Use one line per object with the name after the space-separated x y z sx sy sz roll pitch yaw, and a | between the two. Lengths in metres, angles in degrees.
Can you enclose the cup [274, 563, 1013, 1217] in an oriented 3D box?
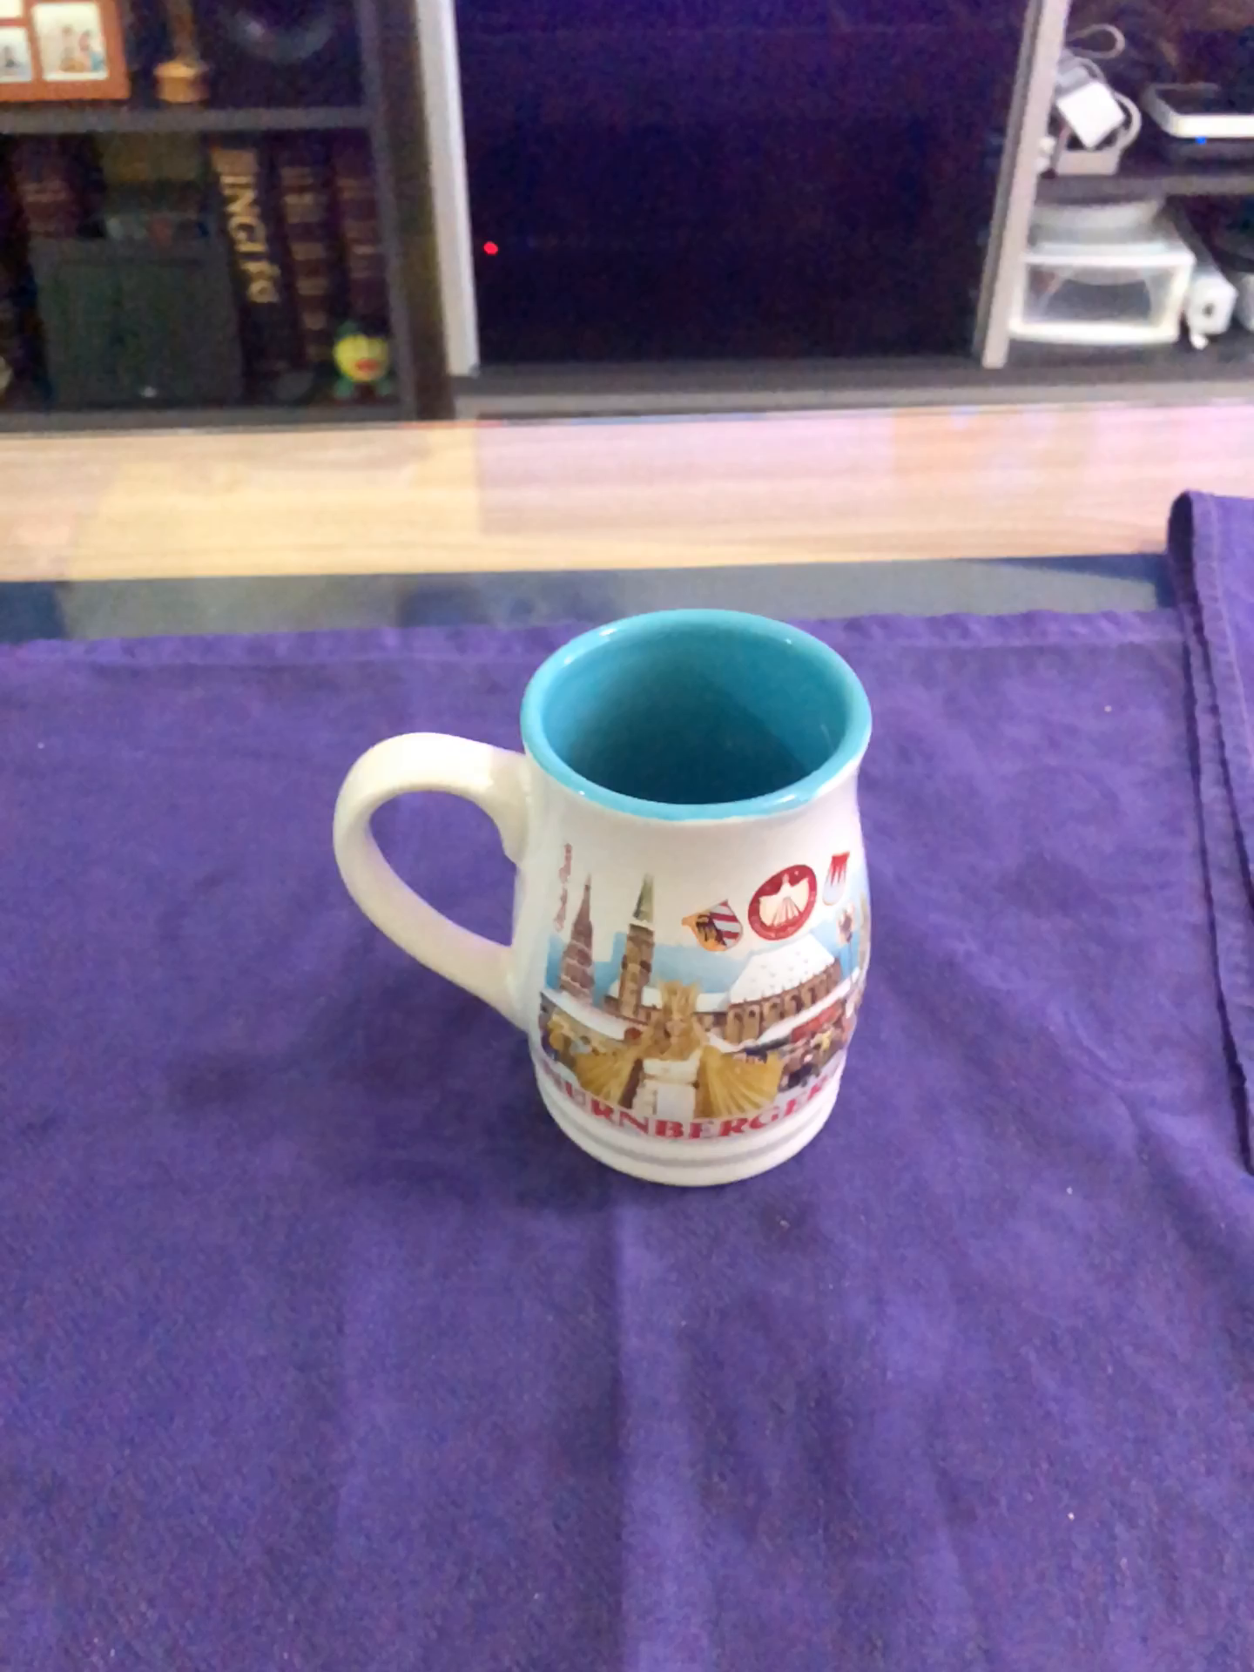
0.004 0.012 0.294 0.120 0.109 0.080 1 41 2 | cup
